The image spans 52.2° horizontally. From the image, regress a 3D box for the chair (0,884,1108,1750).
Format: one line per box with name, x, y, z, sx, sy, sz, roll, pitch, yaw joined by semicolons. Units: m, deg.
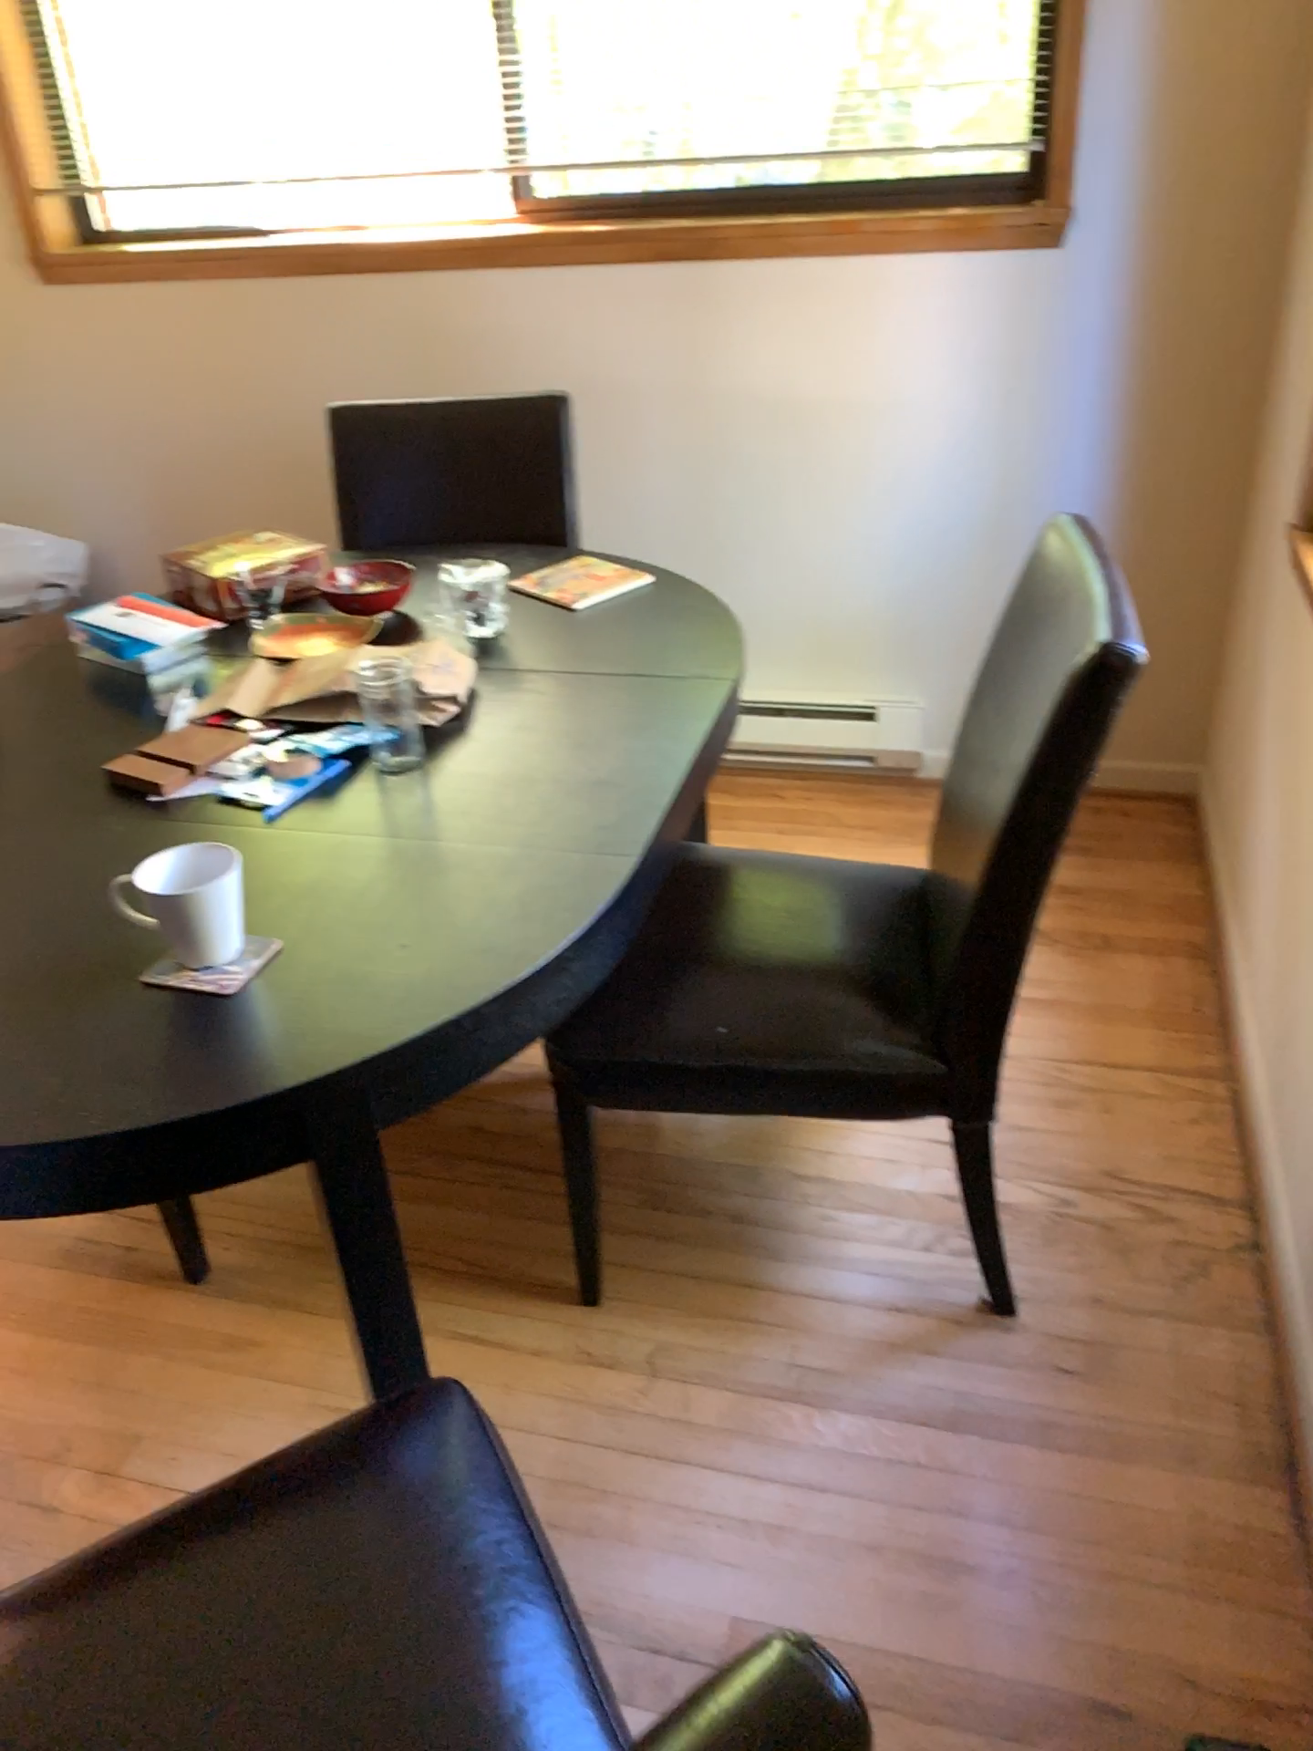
chair;-0.231;0.704;0.880;0.620;1.083;0.654;-20;34;-24
